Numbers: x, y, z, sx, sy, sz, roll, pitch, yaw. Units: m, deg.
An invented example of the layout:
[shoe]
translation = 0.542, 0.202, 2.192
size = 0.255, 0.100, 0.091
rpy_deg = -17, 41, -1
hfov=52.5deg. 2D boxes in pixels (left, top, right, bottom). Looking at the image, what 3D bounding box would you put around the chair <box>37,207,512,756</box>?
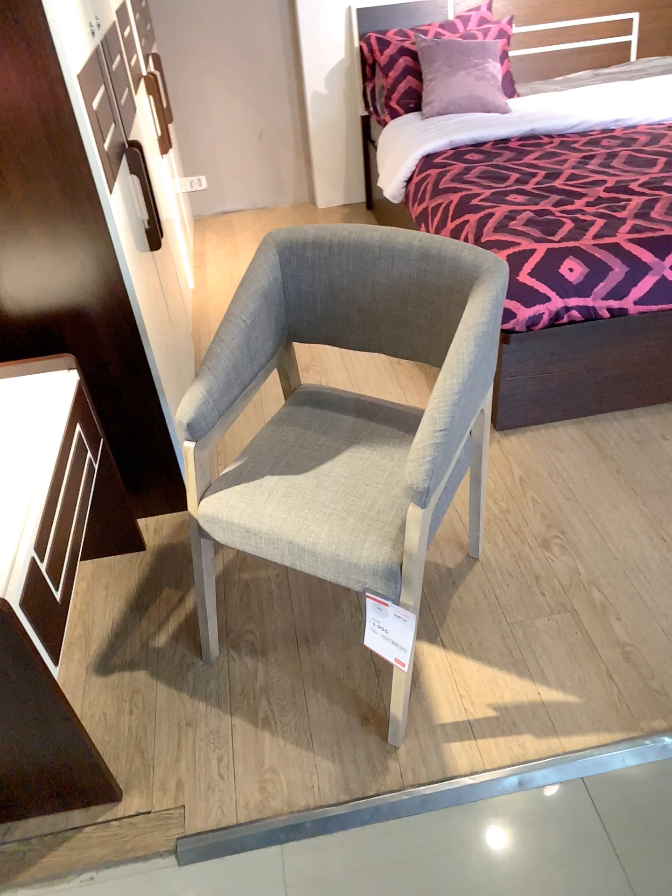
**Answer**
[chair]
translation = -0.036, 0.044, 1.359
size = 0.561, 0.797, 0.581
rpy_deg = 14, 43, 23
